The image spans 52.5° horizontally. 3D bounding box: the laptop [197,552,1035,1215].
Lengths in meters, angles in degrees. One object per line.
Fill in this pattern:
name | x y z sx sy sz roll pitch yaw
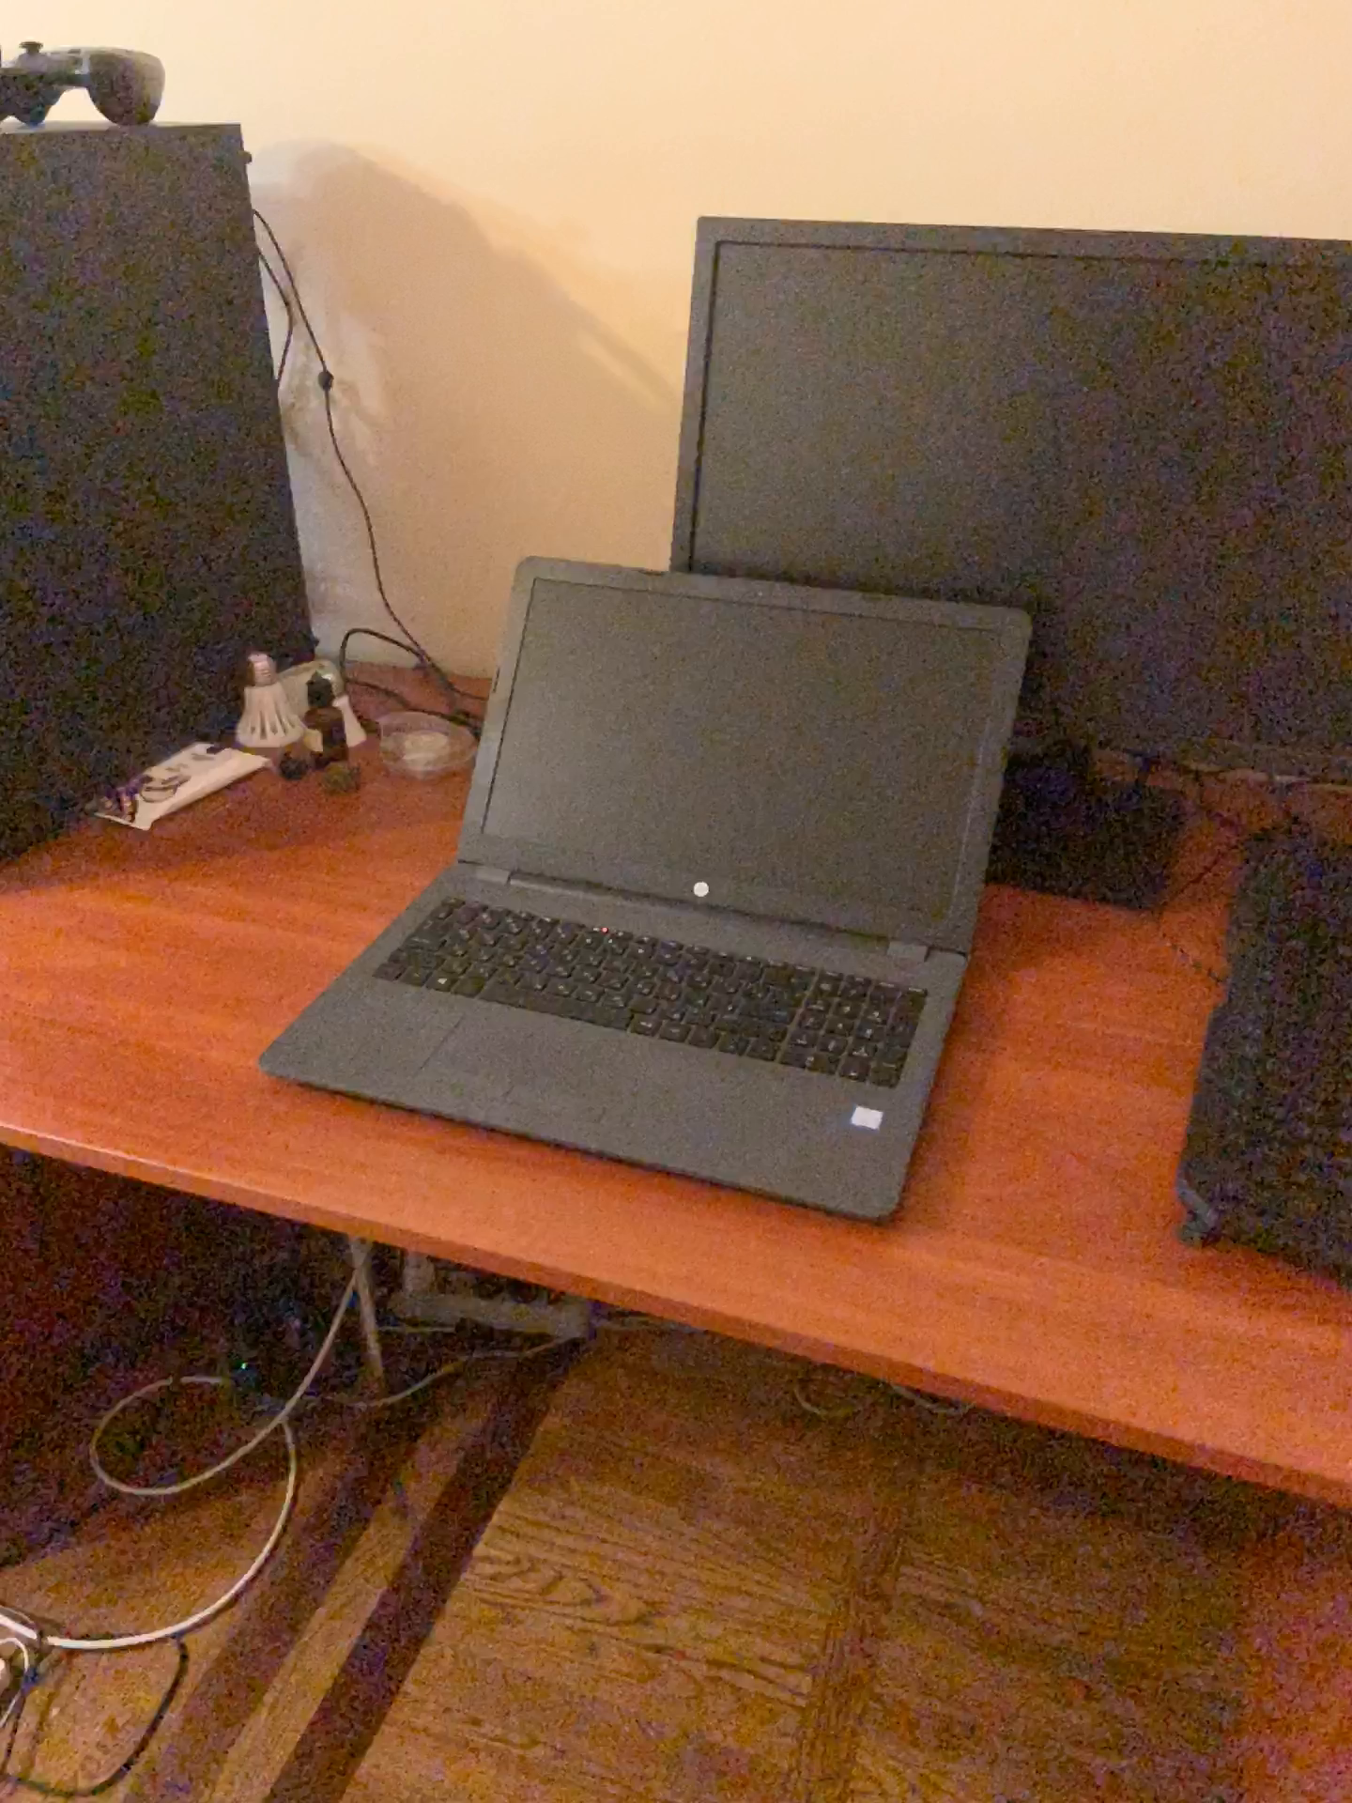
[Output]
laptop | -0.002 -0.051 0.847 0.372 0.188 0.393 10 32 16
